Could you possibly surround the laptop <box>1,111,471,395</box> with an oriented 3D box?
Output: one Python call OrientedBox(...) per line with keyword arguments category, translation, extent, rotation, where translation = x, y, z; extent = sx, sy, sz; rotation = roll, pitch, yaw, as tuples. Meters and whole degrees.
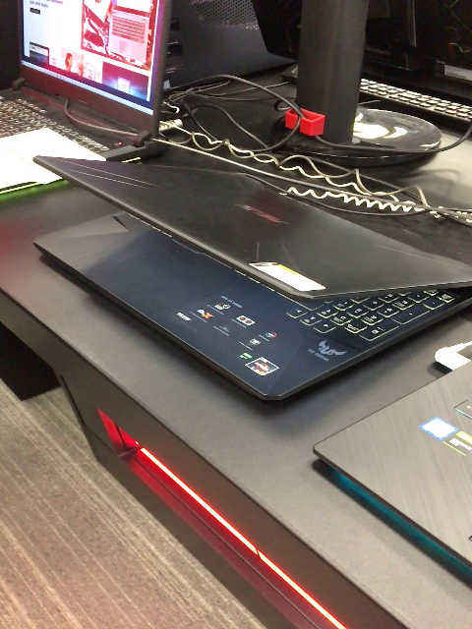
OrientedBox(category="laptop", translation=(0.011, -0.090, 0.597), extent=(0.266, 0.088, 0.360), rotation=(-30, 46, -32))
